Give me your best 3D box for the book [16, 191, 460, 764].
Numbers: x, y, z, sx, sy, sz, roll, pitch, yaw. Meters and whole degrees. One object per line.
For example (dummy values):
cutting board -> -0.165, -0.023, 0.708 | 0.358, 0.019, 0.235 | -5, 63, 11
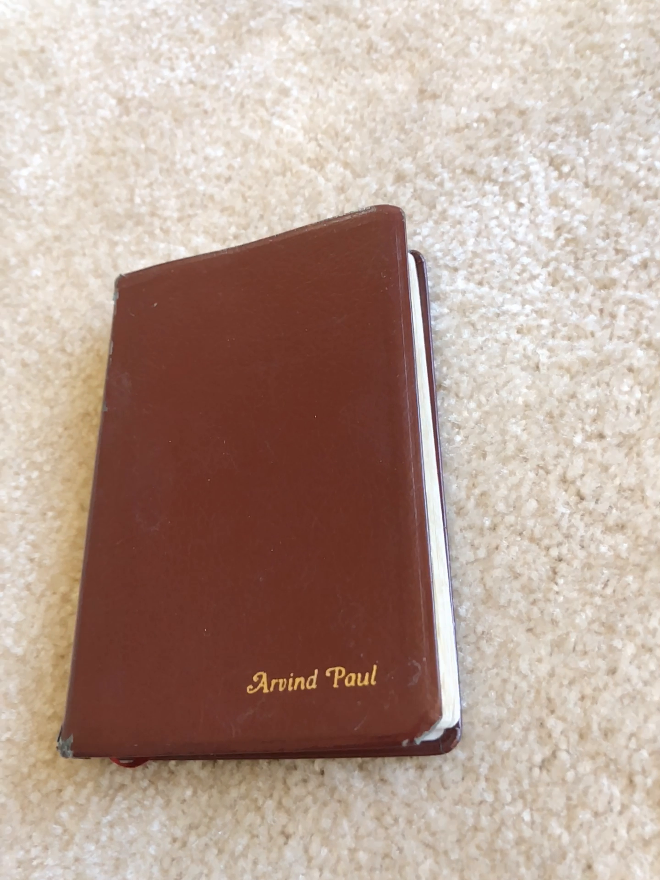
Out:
book -> -0.026, 0.012, 0.226 | 0.110, 0.040, 0.157 | -10, 64, 19
